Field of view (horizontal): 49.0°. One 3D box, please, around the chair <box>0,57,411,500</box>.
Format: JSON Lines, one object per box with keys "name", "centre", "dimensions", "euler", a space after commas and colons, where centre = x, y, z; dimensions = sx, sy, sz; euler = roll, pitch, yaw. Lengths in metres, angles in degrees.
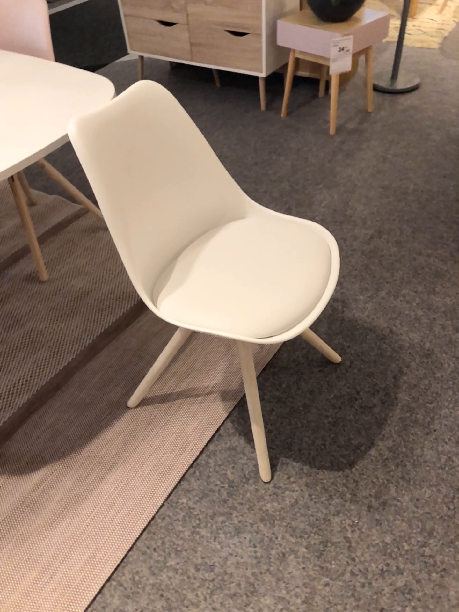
{"name": "chair", "centre": [-0.014, -0.077, 1.223], "dimensions": [0.590, 0.756, 0.553], "euler": [21, 49, 24]}
